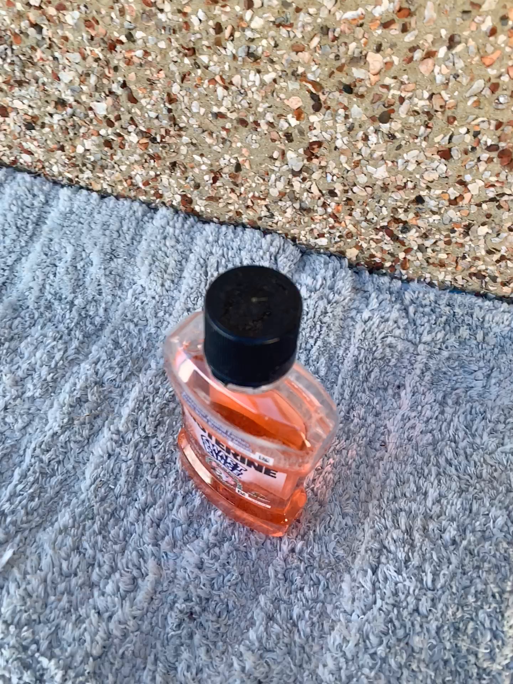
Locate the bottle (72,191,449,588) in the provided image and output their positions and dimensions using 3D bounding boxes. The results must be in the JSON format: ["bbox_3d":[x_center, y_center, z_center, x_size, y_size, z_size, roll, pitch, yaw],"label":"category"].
[{"bbox_3d":[0.000,0.035,0.209,0.090,0.159,0.050,33,64,20],"label":"bottle"}]
